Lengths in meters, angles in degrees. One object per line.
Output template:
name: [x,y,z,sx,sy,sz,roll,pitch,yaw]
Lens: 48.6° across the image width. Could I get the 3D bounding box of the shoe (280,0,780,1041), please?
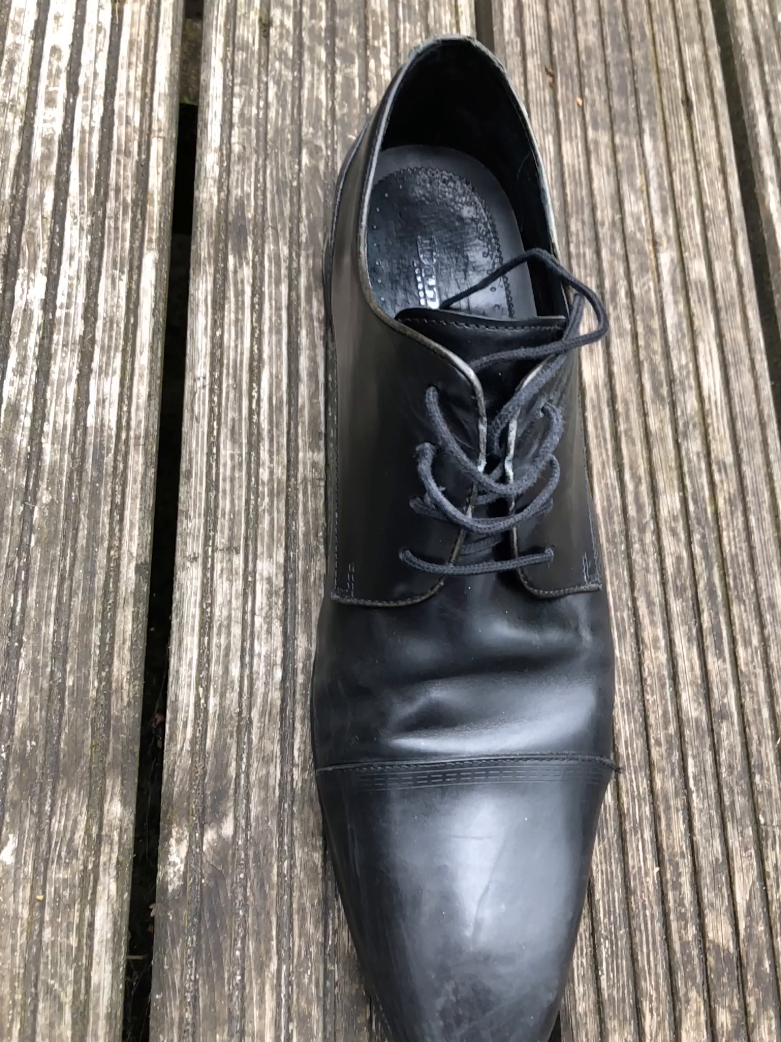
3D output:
shoe: [0.018,-0.003,0.289,0.090,0.150,0.341,1,74,-13]
